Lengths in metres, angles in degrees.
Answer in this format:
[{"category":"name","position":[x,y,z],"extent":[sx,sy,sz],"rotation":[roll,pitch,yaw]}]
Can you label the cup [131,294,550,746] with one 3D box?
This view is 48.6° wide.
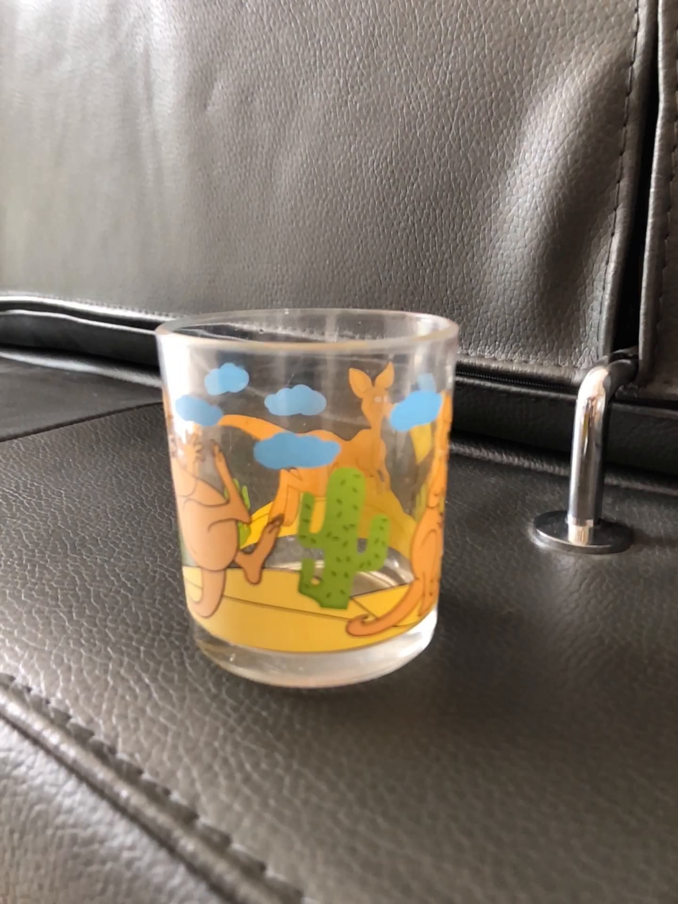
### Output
[{"category":"cup","position":[-0.004,0.005,0.189],"extent":[0.070,0.080,0.080],"rotation":[-9,18,-27]}]
